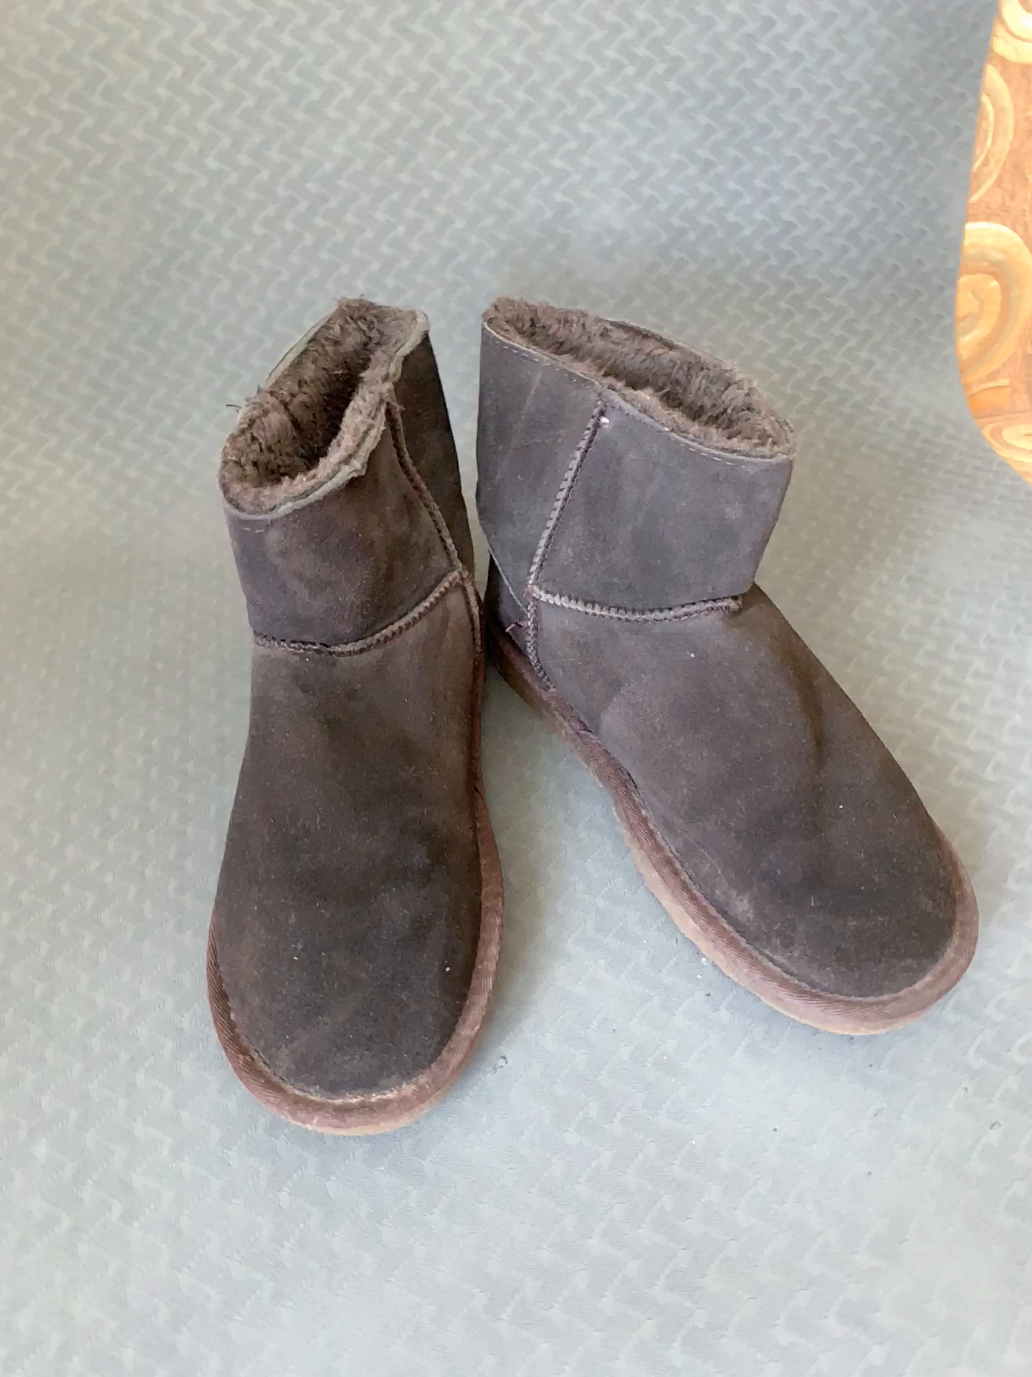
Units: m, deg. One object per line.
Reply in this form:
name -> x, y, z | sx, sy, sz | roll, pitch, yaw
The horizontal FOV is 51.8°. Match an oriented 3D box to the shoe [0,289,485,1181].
shoe -> -0.065, 0.003, 0.346 | 0.100, 0.139, 0.254 | -2, 50, -1

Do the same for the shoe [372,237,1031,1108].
shoe -> 0.060, -0.019, 0.359 | 0.100, 0.139, 0.254 | -25, 54, -19
